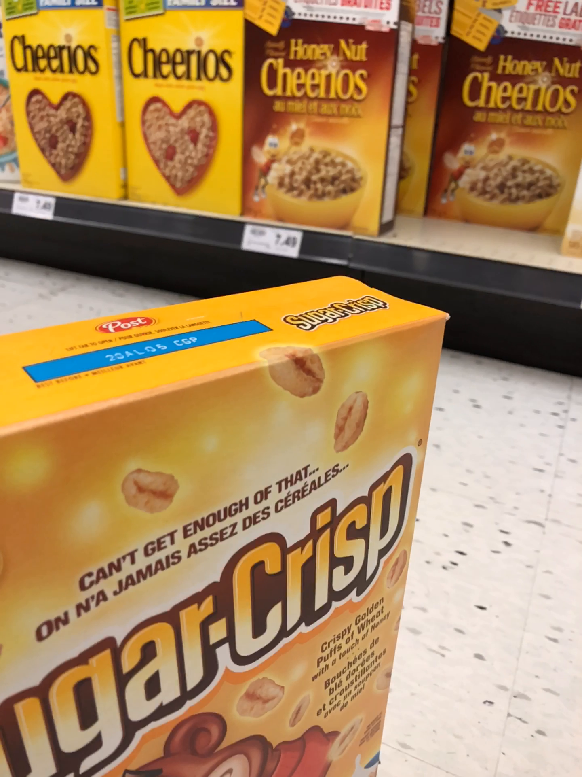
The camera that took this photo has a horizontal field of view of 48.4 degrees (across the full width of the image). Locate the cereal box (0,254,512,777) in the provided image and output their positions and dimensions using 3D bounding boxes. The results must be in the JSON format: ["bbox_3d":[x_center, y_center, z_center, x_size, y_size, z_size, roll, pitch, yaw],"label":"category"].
[{"bbox_3d":[-0.039,0.121,0.220,0.210,0.298,0.060,-17,31,-37],"label":"cereal box"}]
